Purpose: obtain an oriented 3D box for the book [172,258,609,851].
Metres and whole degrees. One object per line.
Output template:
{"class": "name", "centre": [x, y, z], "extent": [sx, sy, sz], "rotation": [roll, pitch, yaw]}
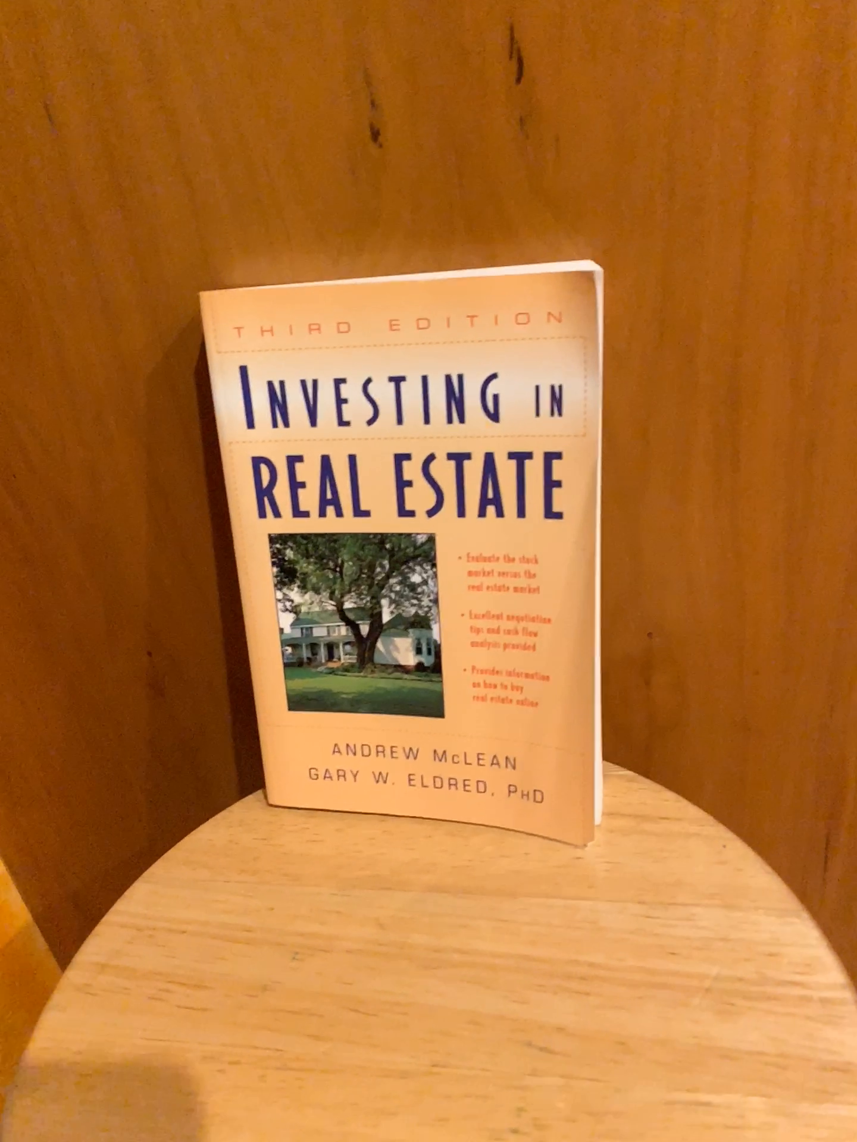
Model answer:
{"class": "book", "centre": [-0.007, -0.003, 0.369], "extent": [0.160, 0.229, 0.050], "rotation": [0, 17, 13]}
